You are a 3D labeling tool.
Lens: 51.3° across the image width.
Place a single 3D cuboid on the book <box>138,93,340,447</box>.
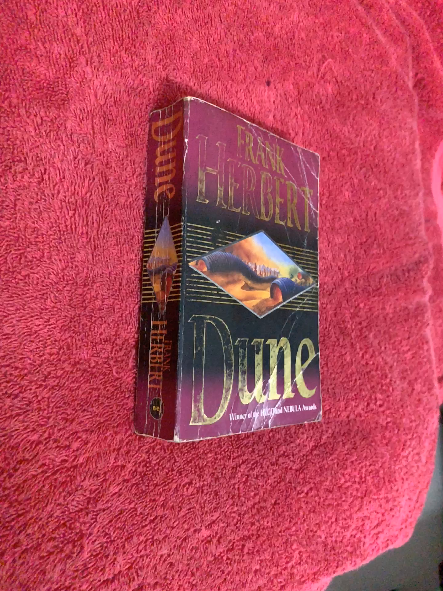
[{"bbox_3d":[0.014,-0.010,0.264,0.115,0.039,0.165,6,81,-40],"label":"book"}]
